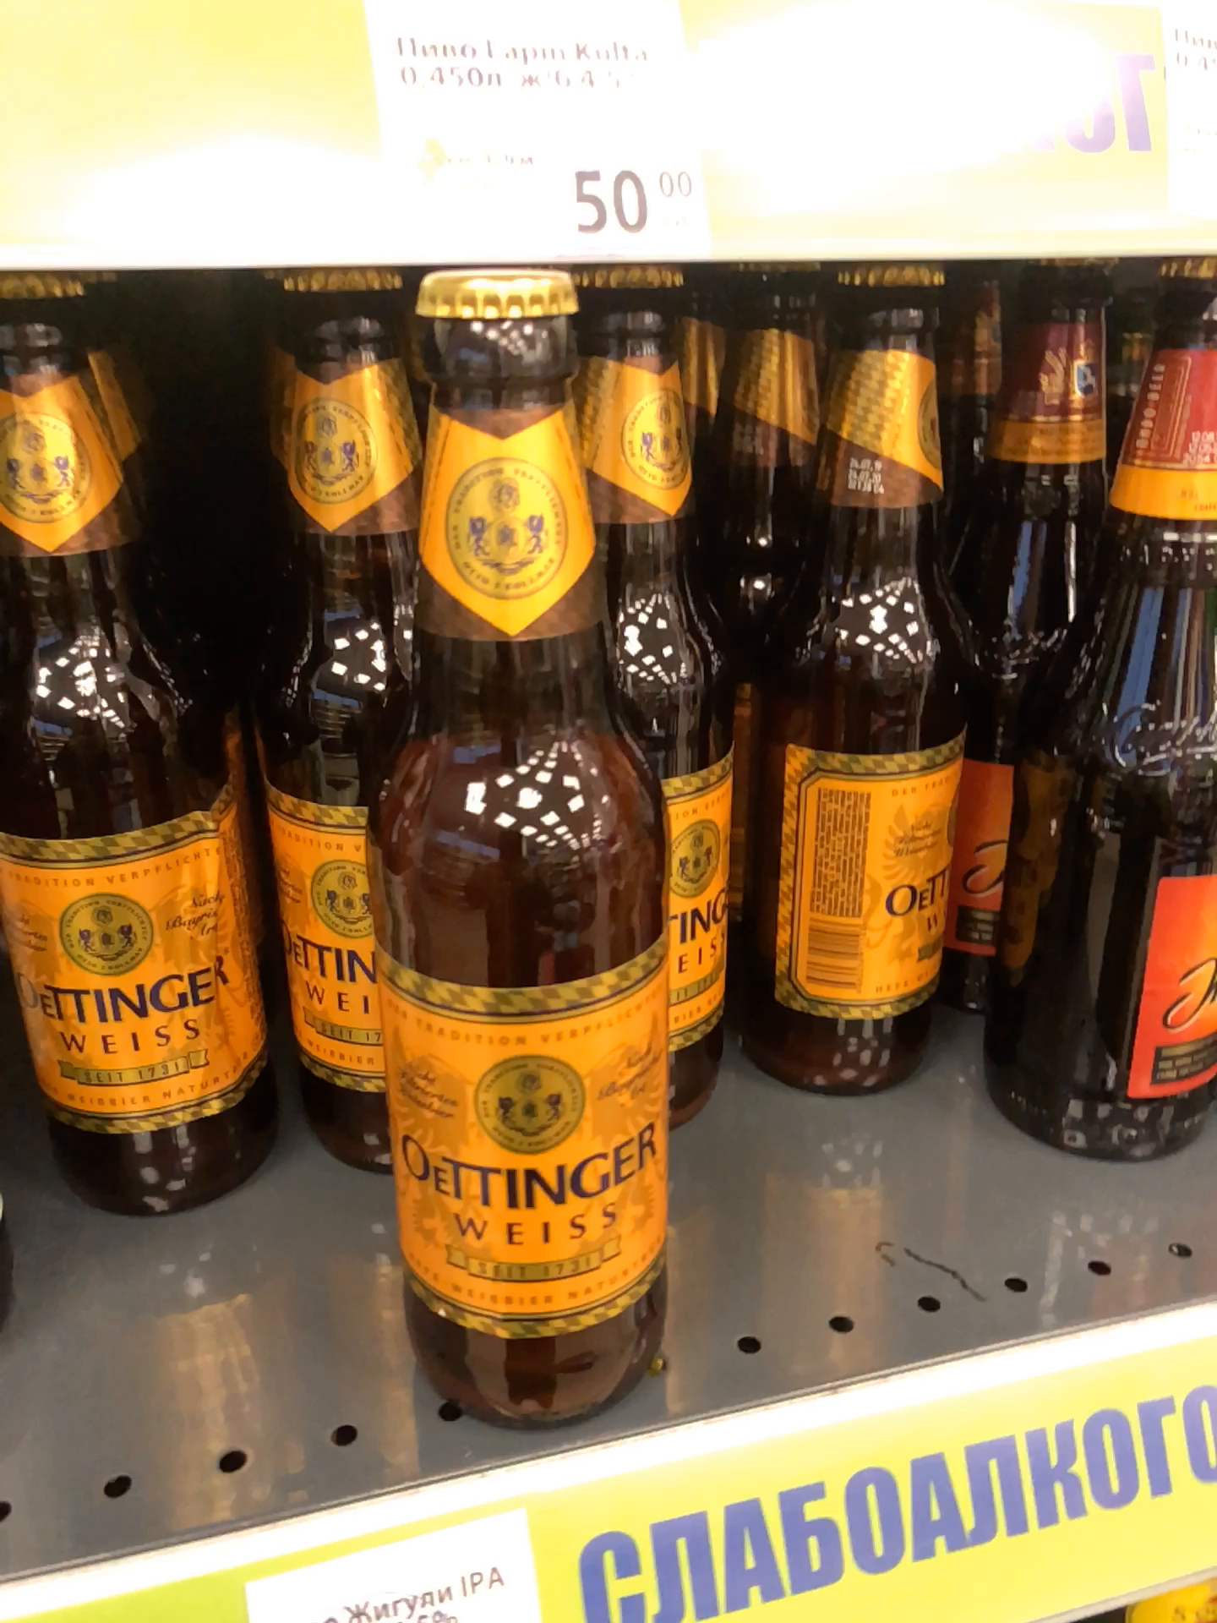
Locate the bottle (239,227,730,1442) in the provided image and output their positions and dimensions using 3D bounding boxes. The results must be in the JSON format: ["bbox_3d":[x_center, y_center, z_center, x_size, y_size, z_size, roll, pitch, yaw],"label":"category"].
[{"bbox_3d":[-0.020,0.012,0.278,0.071,0.243,0.070,0,25,0],"label":"bottle"}]
